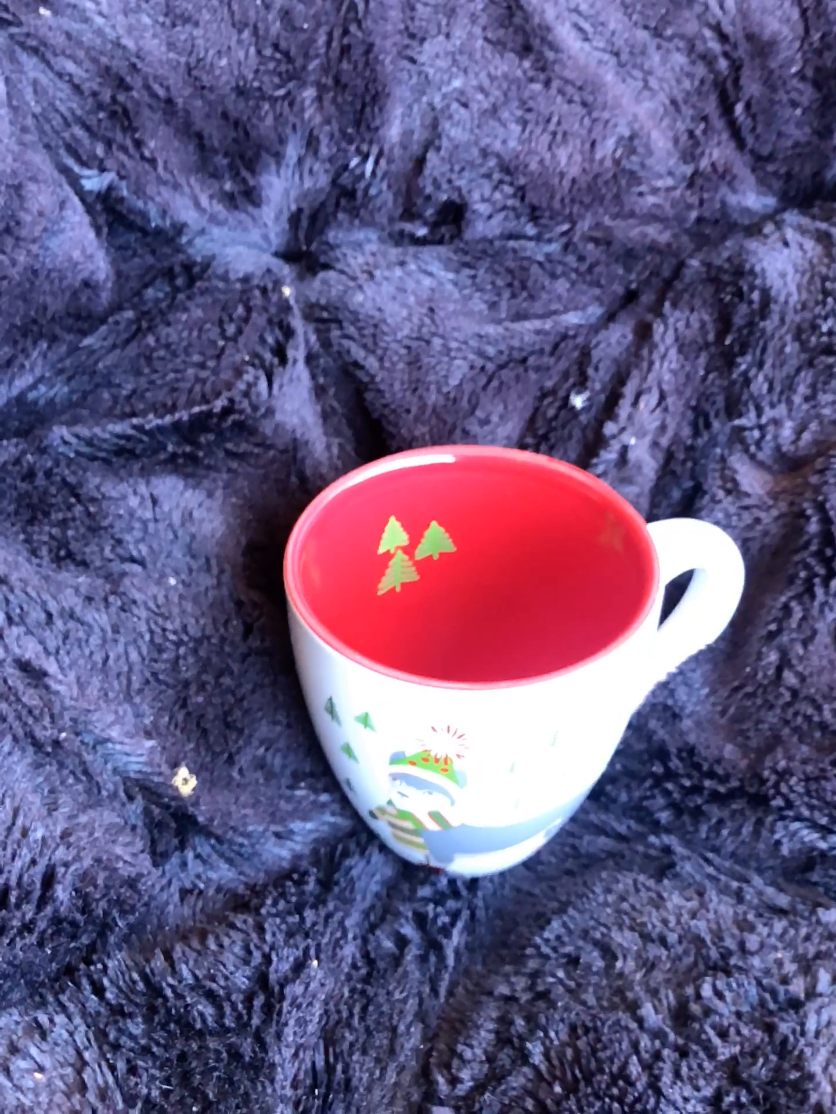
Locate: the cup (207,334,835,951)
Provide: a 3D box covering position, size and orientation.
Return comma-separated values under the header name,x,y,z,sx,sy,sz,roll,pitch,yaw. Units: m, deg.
name,x,y,z,sx,sy,sz,roll,pitch,yaw
cup,0.027,0.021,0.288,0.140,0.110,0.100,-20,48,-20
